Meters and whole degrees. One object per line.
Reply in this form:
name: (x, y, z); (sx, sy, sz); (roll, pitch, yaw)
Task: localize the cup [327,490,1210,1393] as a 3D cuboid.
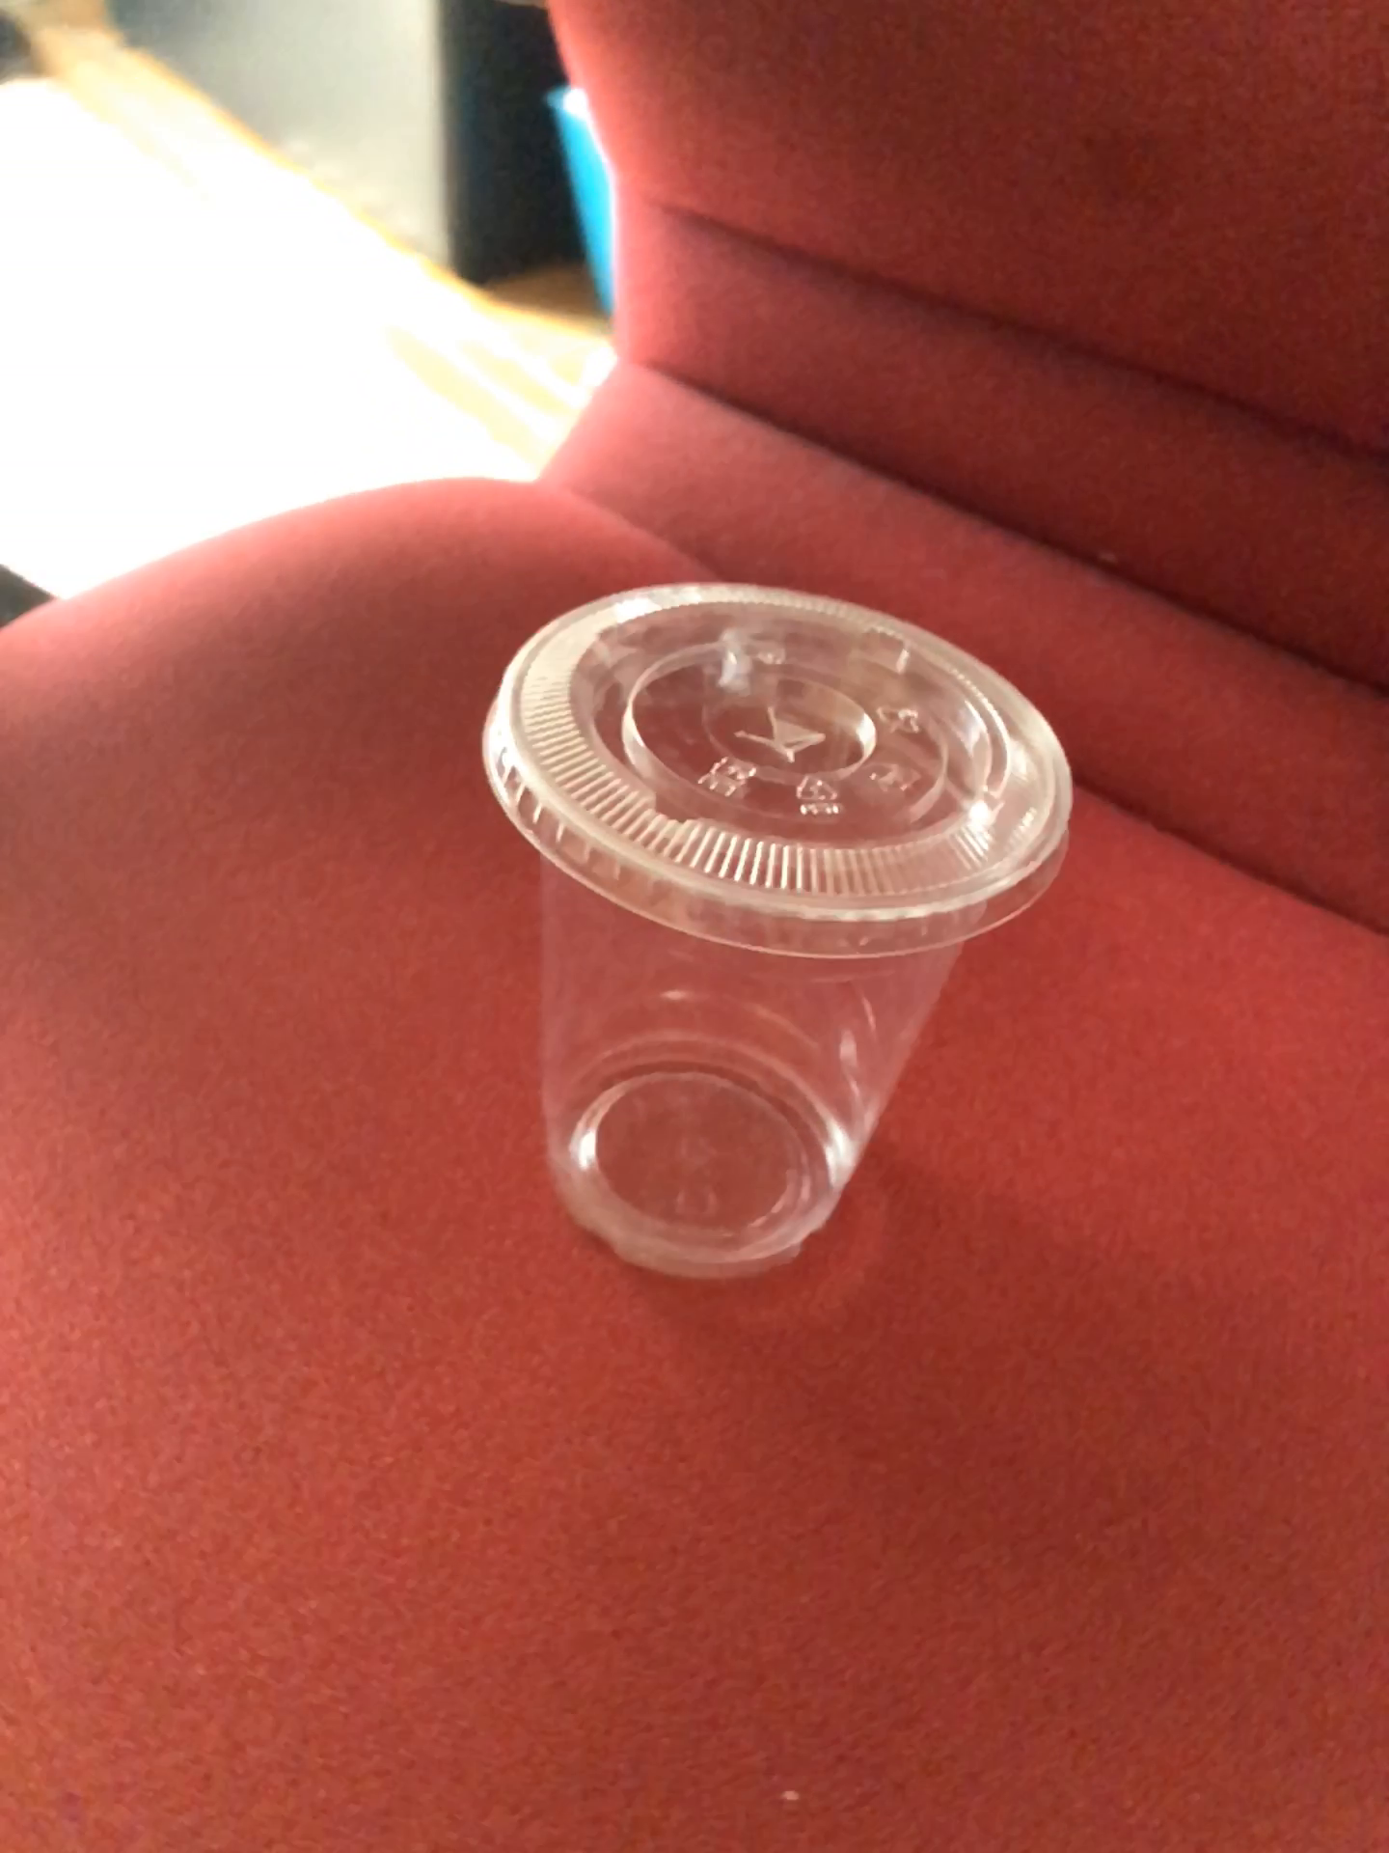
cup: (0.006, -0.005, 0.274); (0.100, 0.090, 0.100); (7, 40, -6)
